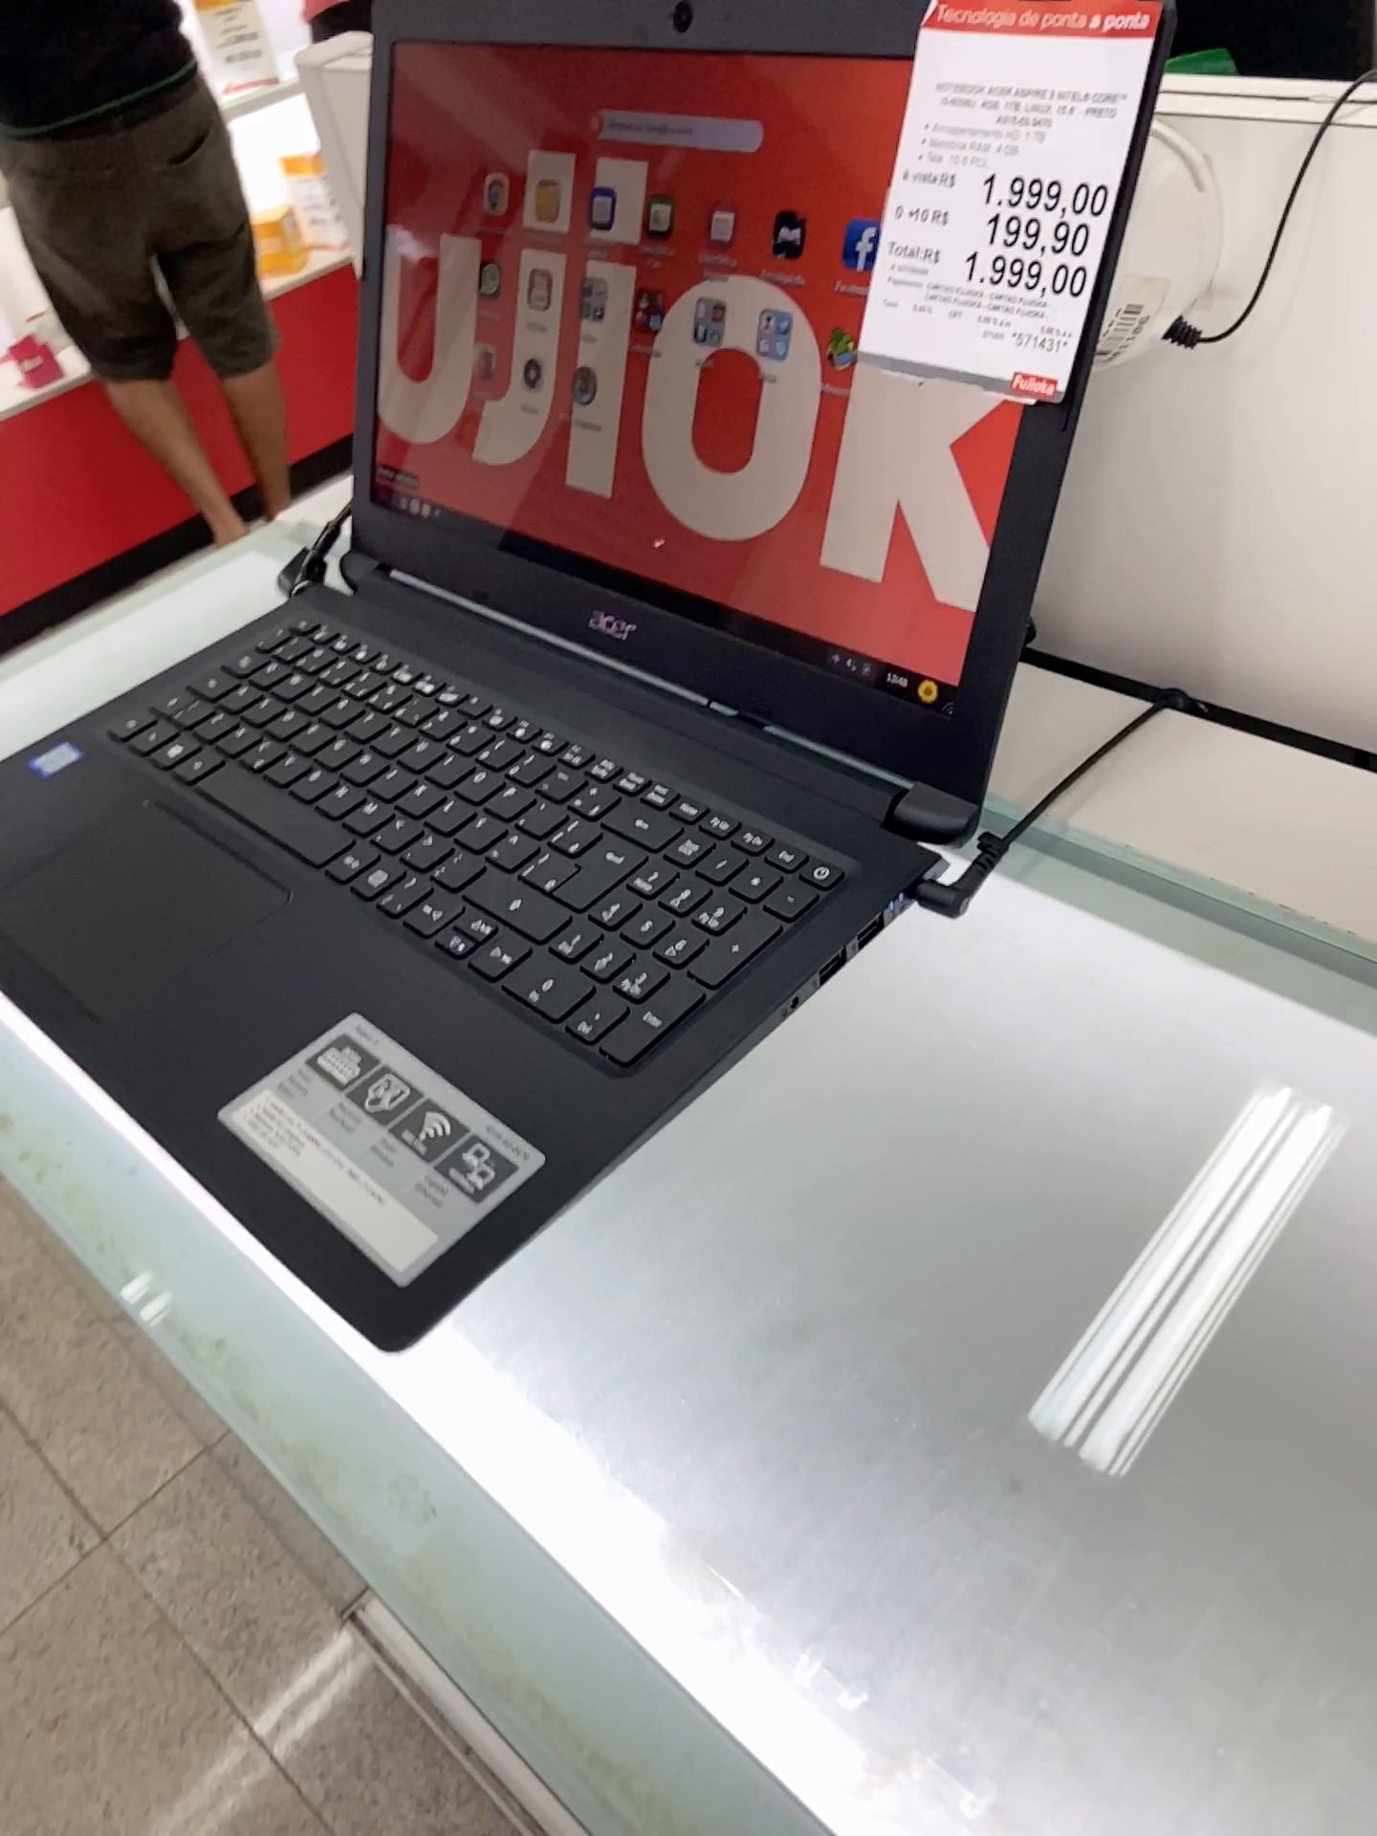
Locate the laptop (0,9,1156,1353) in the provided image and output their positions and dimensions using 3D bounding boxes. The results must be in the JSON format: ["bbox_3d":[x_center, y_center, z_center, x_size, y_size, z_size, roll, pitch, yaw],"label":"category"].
[{"bbox_3d":[-0.113,-0.146,0.506,0.393,0.230,0.371,28,55,36],"label":"laptop"}]
